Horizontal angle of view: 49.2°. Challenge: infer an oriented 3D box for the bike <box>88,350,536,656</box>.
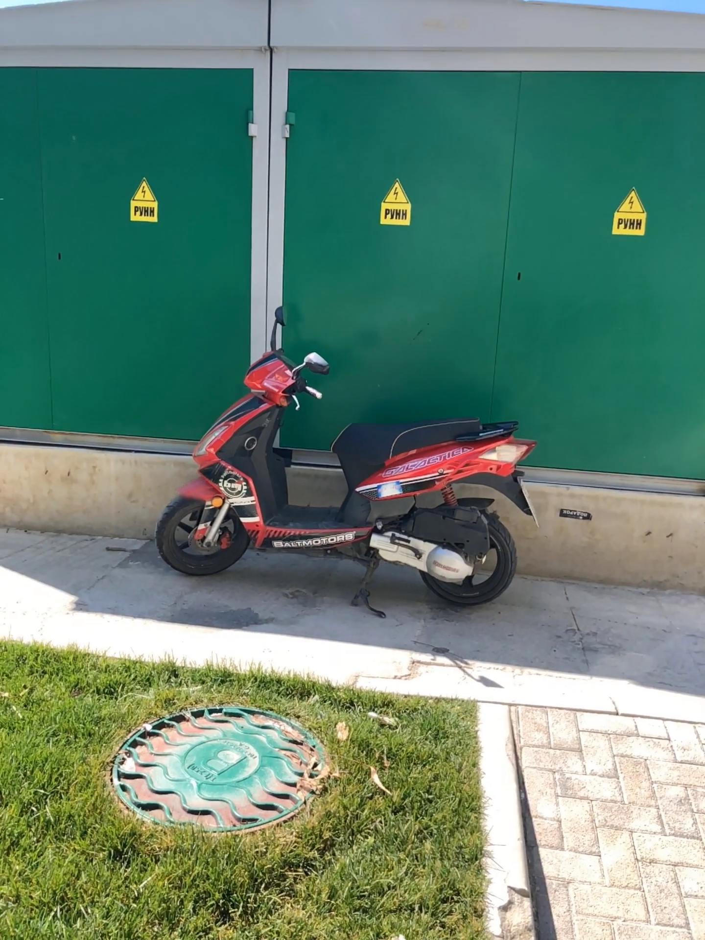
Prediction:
[{"bbox_3d":[-0.134,0.089,3.260,1.590,1.087,0.590,4,12,9],"label":"bike"}]
